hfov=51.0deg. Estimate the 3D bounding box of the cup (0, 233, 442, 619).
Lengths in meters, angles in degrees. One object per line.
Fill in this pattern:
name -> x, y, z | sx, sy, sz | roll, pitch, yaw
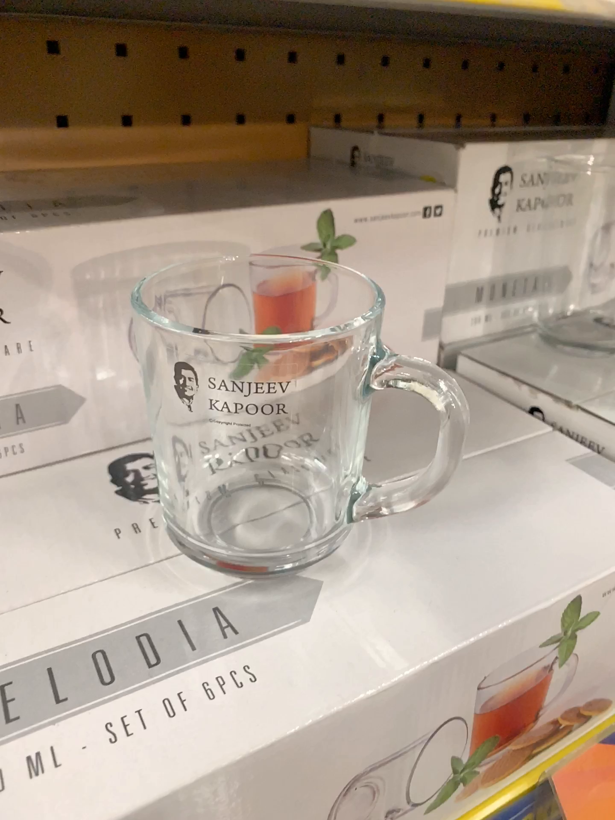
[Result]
cup -> -0.018, -0.001, 0.188 | 0.100, 0.080, 0.070 | 5, 27, 6
